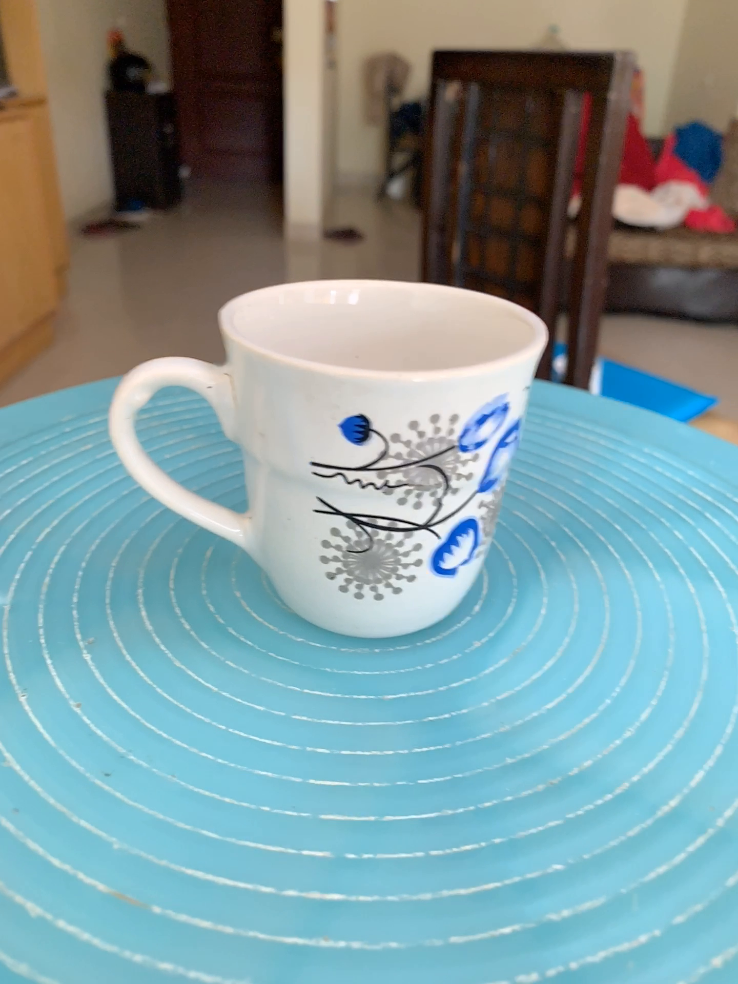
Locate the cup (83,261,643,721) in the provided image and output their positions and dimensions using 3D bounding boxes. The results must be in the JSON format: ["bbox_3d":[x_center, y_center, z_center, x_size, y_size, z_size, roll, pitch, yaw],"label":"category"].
[{"bbox_3d":[-0.006,-0.010,0.169,0.090,0.060,0.070,-11,31,-24],"label":"cup"}]
